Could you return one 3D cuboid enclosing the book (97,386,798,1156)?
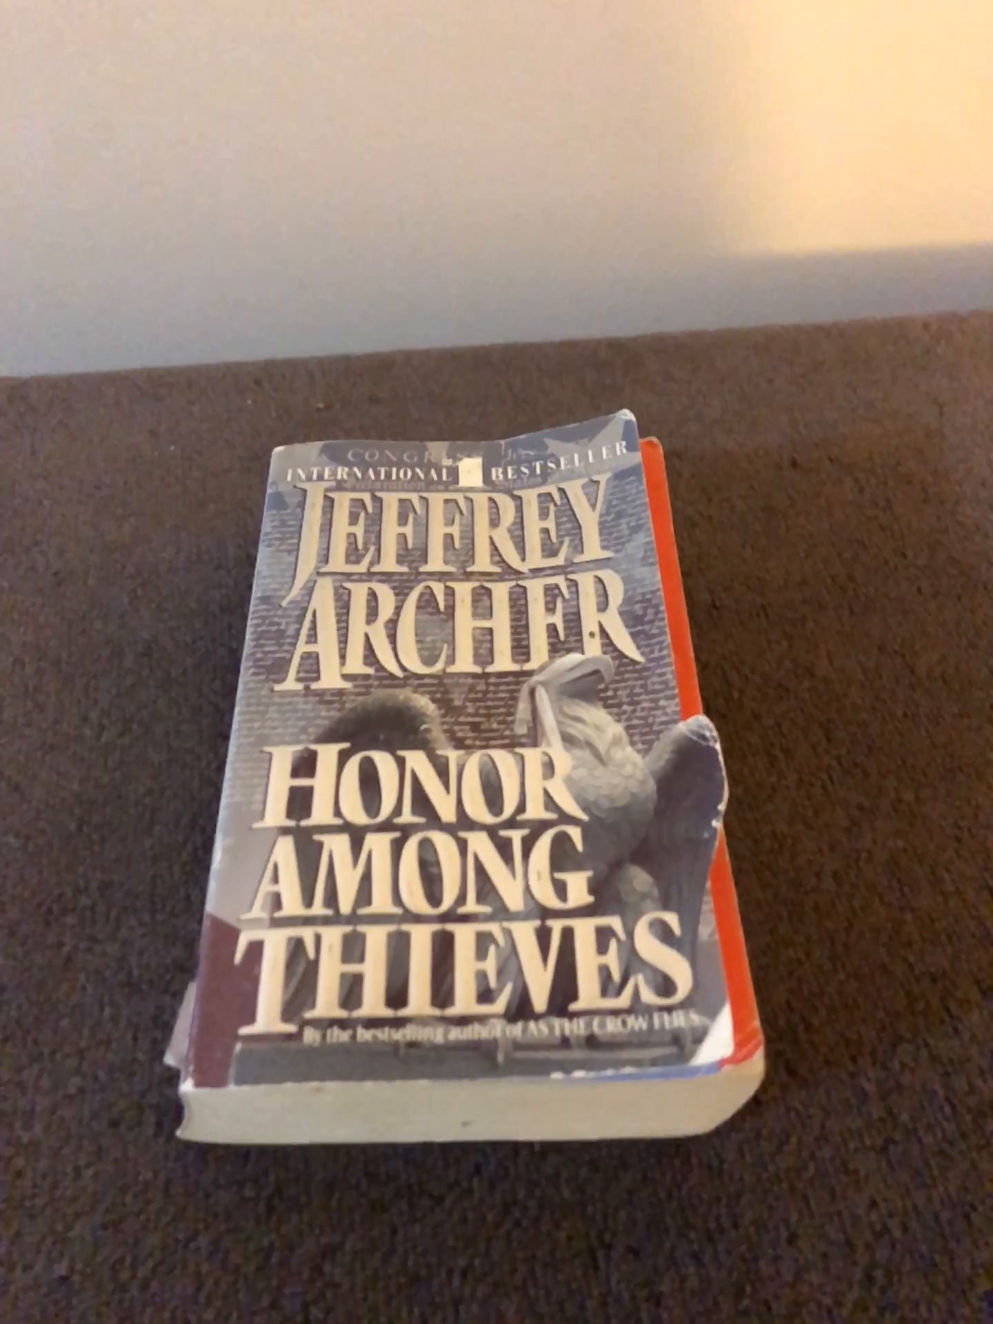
[{"bbox_3d":[-0.010,0.011,0.263,0.120,0.040,0.190,1,52,-2],"label":"book"}]
